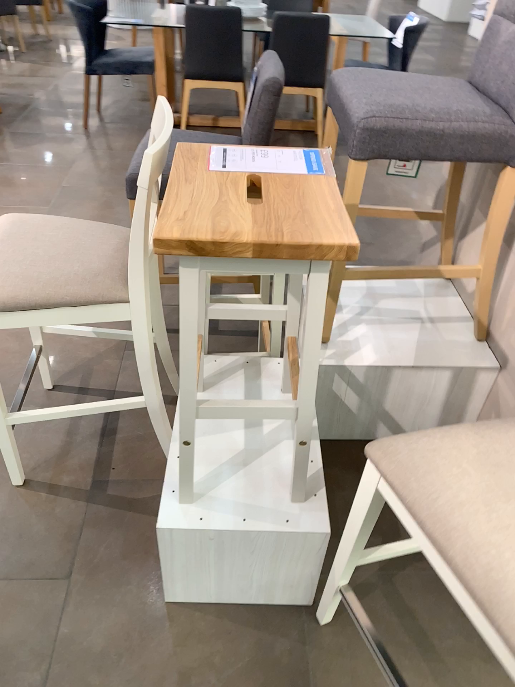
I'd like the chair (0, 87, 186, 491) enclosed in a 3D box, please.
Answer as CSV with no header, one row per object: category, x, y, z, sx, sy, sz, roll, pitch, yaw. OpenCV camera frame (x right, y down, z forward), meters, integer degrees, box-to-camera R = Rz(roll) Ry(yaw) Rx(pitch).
chair,-0.466,-0.102,1.394,0.501,0.954,0.441,-3,39,-8

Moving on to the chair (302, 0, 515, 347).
chair,0.457,-0.526,1.419,0.531,0.984,0.472,1,39,-3

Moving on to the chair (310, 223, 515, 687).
chair,0.469,0.356,0.904,0.512,0.944,0.420,-14,42,-21

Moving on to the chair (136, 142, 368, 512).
chair,-0.026,-0.016,1.078,0.321,0.638,0.401,2,39,-3
